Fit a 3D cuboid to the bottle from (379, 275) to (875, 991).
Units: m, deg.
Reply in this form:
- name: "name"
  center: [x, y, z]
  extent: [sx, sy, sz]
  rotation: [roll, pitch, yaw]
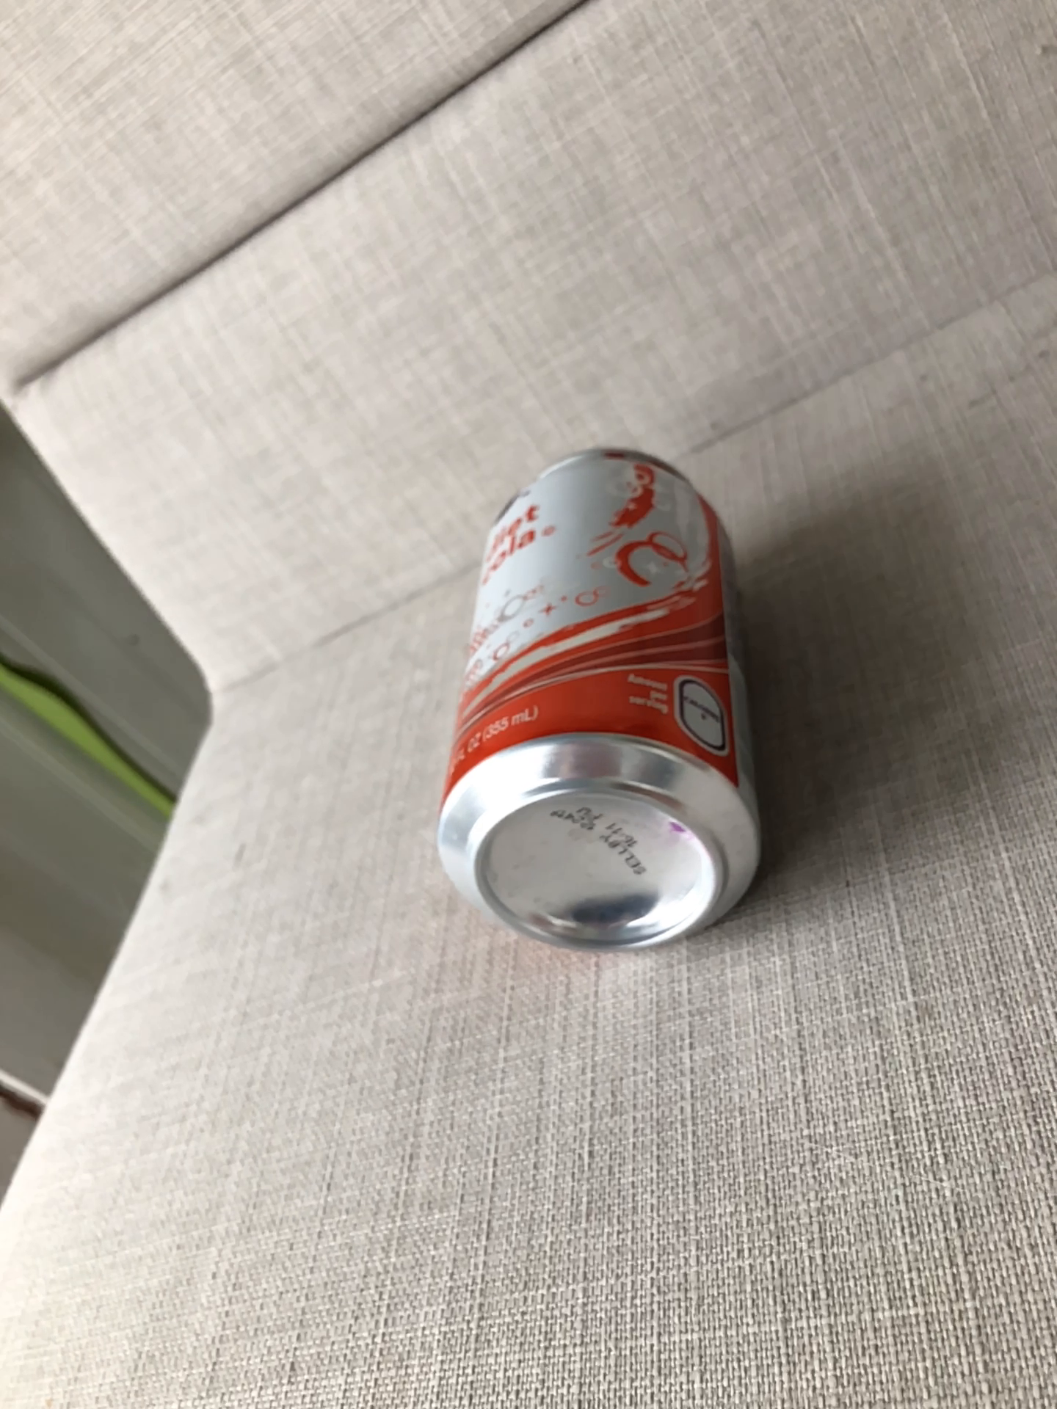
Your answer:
- name: "bottle"
  center: [0.022, -0.023, 0.274]
  extent: [0.070, 0.062, 0.150]
  rotation: [-23, 39, 23]
